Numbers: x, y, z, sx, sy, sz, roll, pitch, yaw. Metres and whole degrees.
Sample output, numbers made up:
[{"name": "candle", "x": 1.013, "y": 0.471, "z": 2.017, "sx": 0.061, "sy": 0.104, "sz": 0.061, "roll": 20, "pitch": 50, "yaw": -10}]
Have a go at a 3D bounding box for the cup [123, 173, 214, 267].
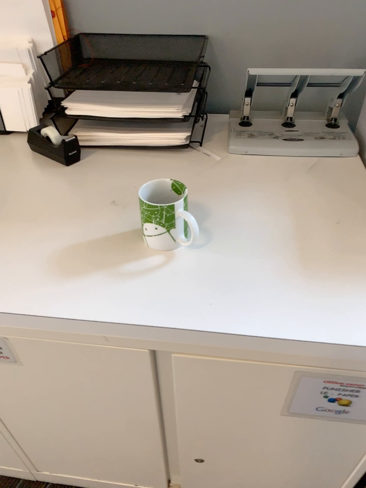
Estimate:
[{"name": "cup", "x": -0.021, "y": -0.041, "z": 0.588, "sx": 0.110, "sy": 0.090, "sz": 0.080, "roll": 23, "pitch": 46, "yaw": 26}]
